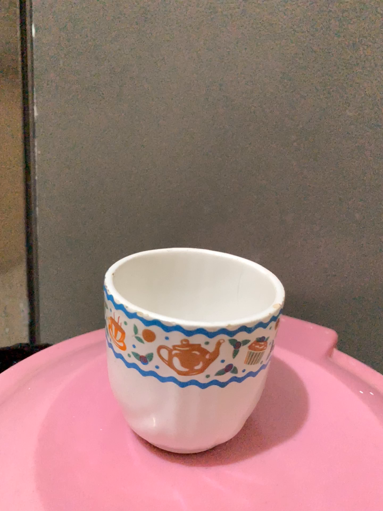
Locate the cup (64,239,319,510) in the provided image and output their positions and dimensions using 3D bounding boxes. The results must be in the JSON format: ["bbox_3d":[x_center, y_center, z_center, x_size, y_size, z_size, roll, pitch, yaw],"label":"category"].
[{"bbox_3d":[-0.002,0.036,0.165,0.070,0.060,0.070,5,18,-2],"label":"cup"}]
